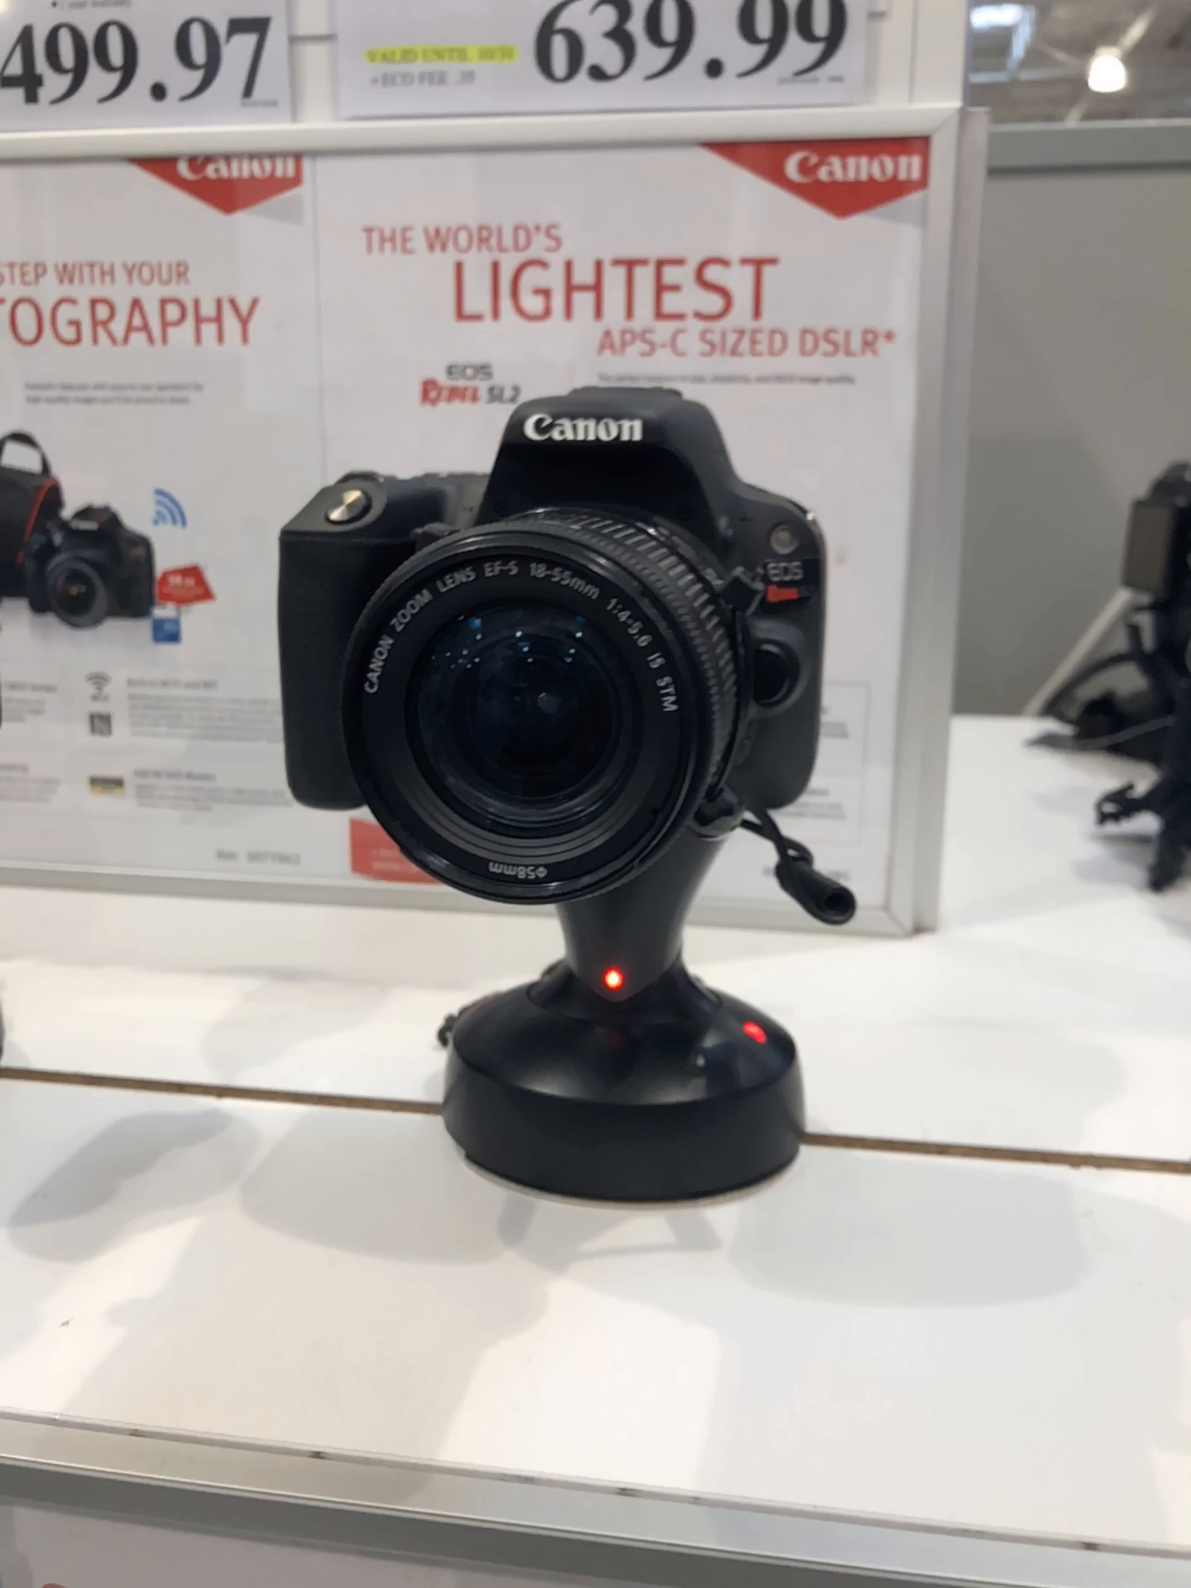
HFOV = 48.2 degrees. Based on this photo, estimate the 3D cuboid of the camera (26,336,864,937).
[{"bbox_3d":[-0.016,-0.039,0.267,0.130,0.090,0.120,3,14,10],"label":"camera"}]
